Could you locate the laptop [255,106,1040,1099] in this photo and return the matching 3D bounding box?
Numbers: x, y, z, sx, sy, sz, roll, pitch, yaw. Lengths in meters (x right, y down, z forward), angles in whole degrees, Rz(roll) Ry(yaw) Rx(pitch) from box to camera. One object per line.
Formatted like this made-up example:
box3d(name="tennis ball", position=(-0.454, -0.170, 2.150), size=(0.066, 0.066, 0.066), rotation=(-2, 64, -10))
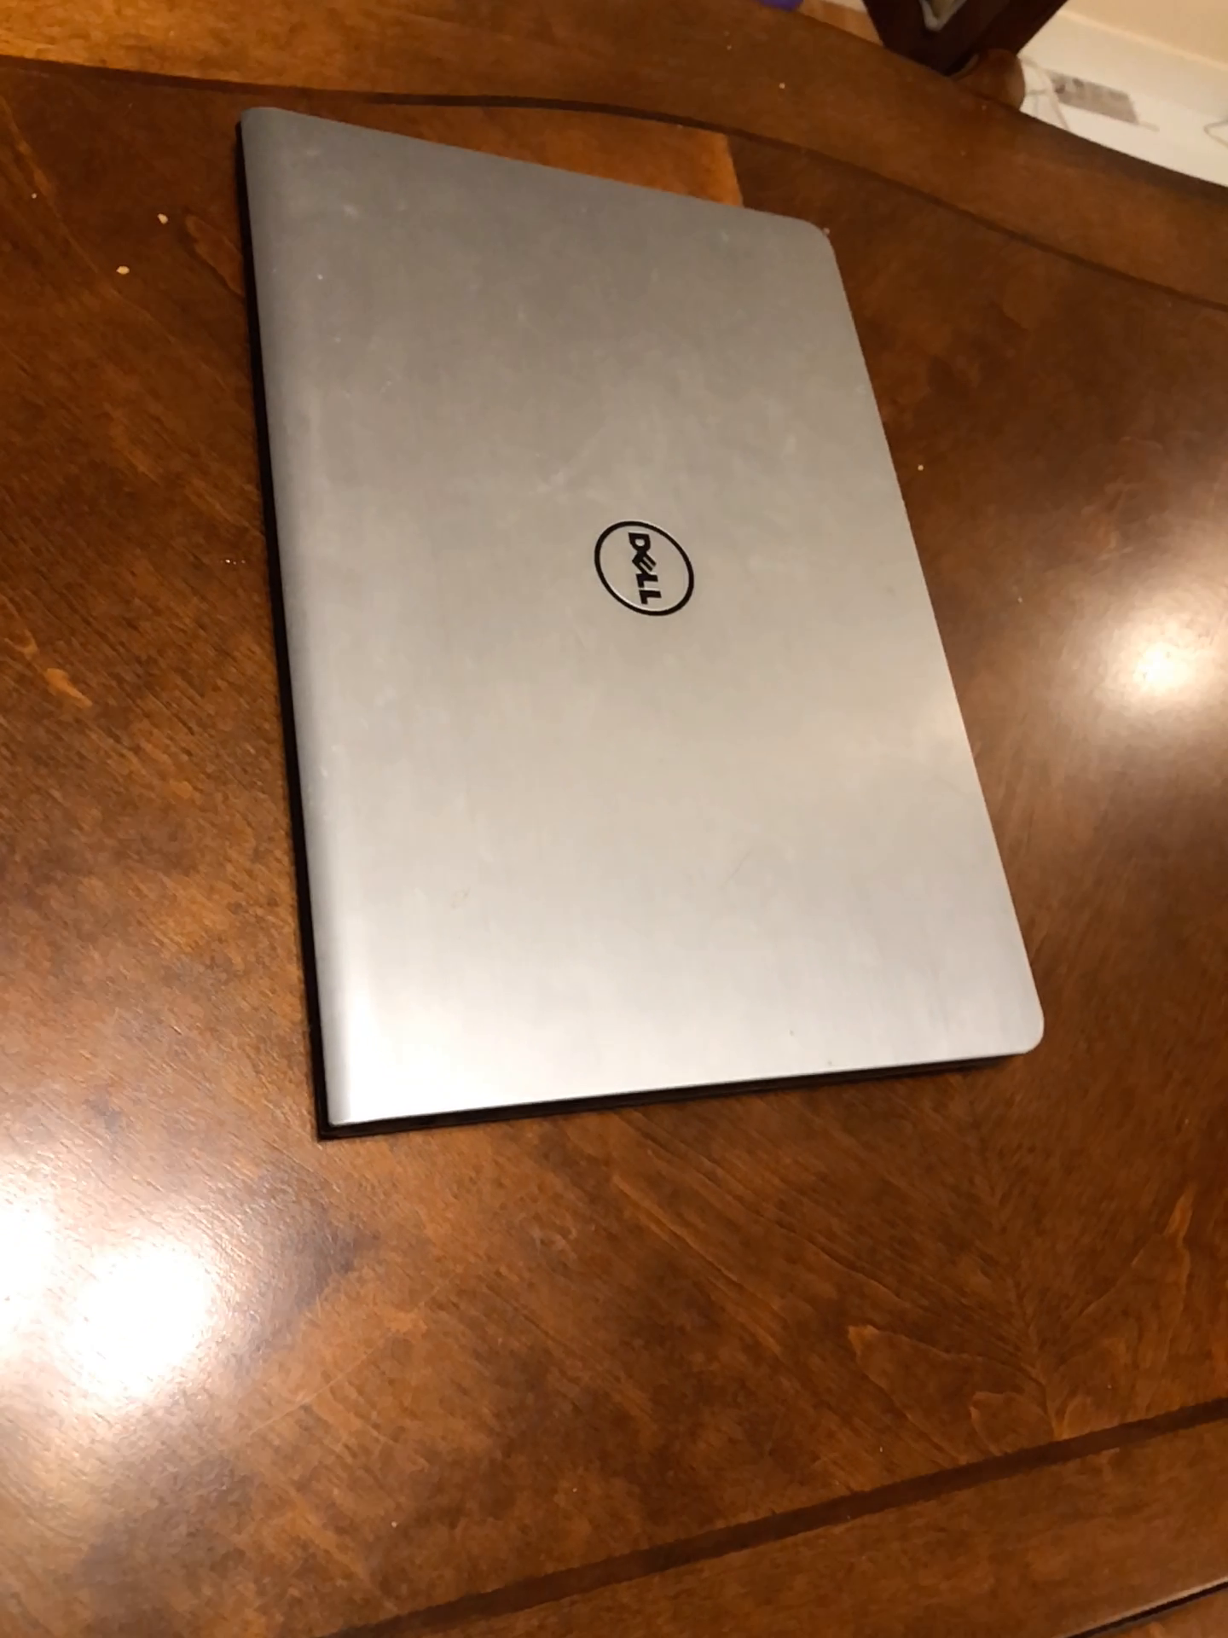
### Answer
box3d(name="laptop", position=(0.008, -0.093, 0.483), size=(0.243, 0.002, 0.364), rotation=(0, 68, -24))
